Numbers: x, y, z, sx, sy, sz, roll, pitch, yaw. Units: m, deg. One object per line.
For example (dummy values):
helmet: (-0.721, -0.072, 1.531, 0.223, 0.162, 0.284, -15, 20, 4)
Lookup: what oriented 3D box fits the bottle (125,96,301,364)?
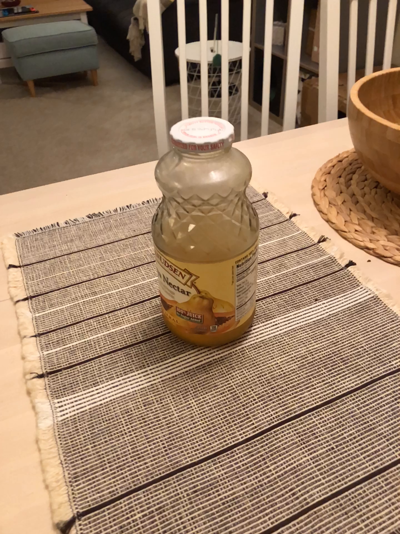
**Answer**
bottle: (0.009, -0.030, 0.397, 0.100, 0.199, 0.100, -1, 39, 1)
